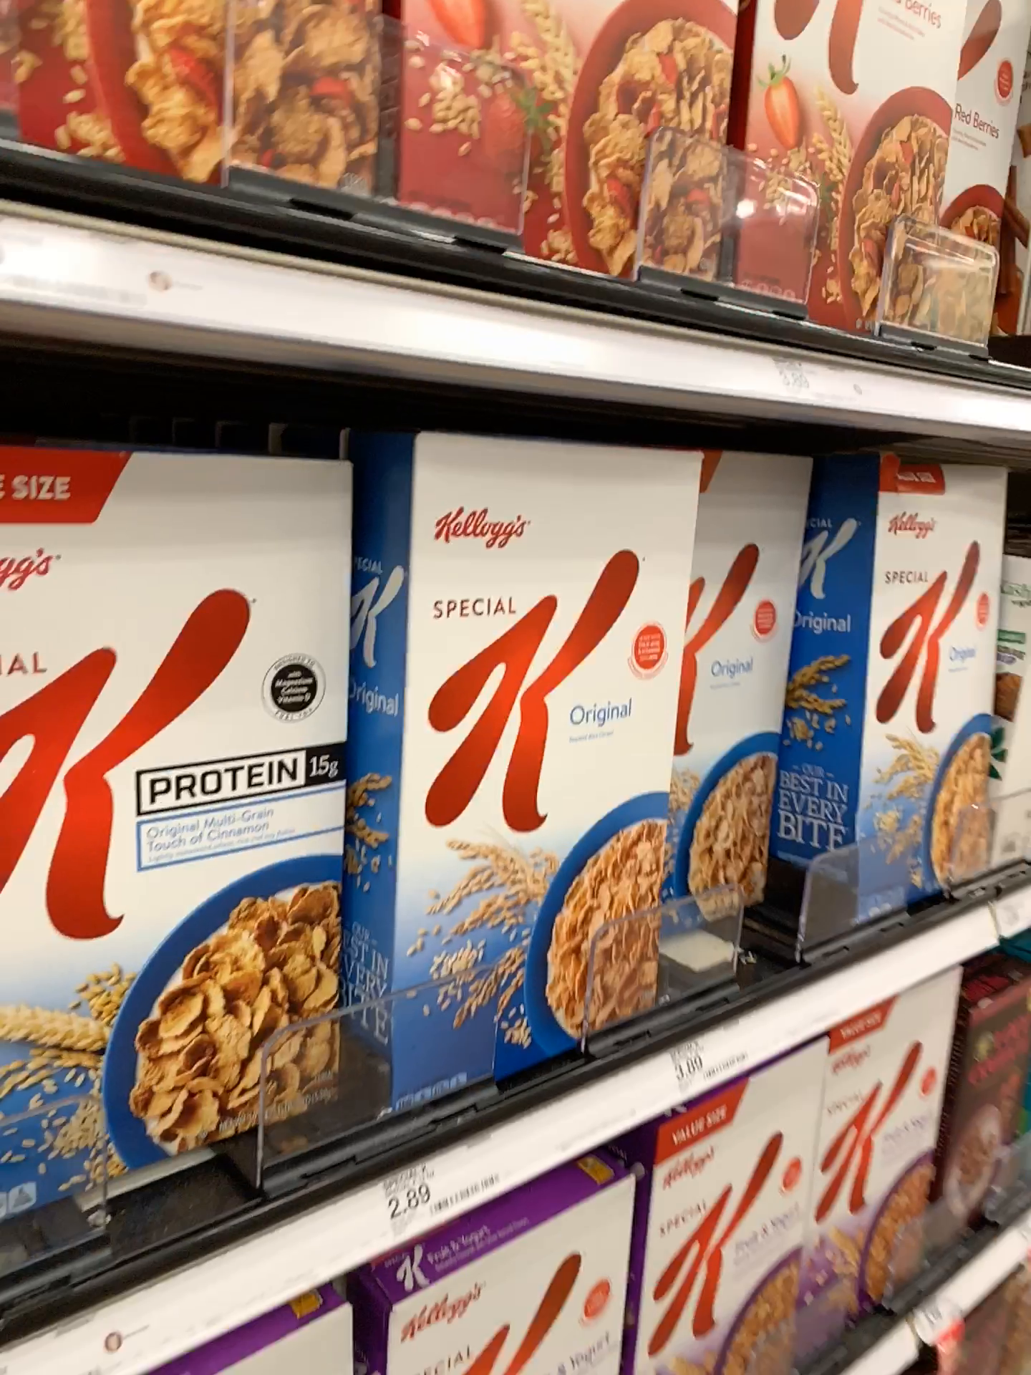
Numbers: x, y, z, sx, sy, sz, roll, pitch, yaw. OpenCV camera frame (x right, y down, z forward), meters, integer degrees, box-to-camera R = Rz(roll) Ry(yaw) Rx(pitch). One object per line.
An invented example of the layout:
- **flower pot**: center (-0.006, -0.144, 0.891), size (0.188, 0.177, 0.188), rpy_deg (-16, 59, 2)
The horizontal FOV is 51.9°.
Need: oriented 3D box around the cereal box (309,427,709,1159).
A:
- **cereal box**: center (-0.001, 0.041, 0.530), size (0.190, 0.319, 0.060), rpy_deg (-6, 14, -41)
